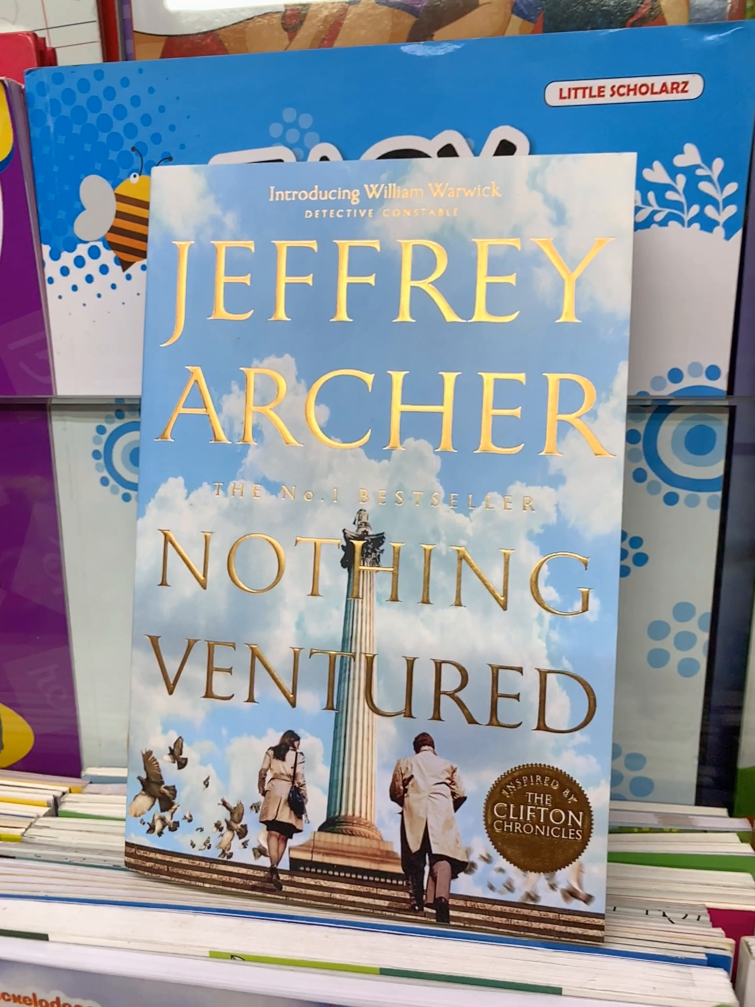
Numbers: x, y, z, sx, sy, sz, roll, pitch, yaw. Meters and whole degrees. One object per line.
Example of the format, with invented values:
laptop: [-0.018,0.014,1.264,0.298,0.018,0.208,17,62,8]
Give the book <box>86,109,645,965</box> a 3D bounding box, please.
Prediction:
book: [-0.004,0.004,0.204,0.130,0.190,0.030,2,-1,12]
